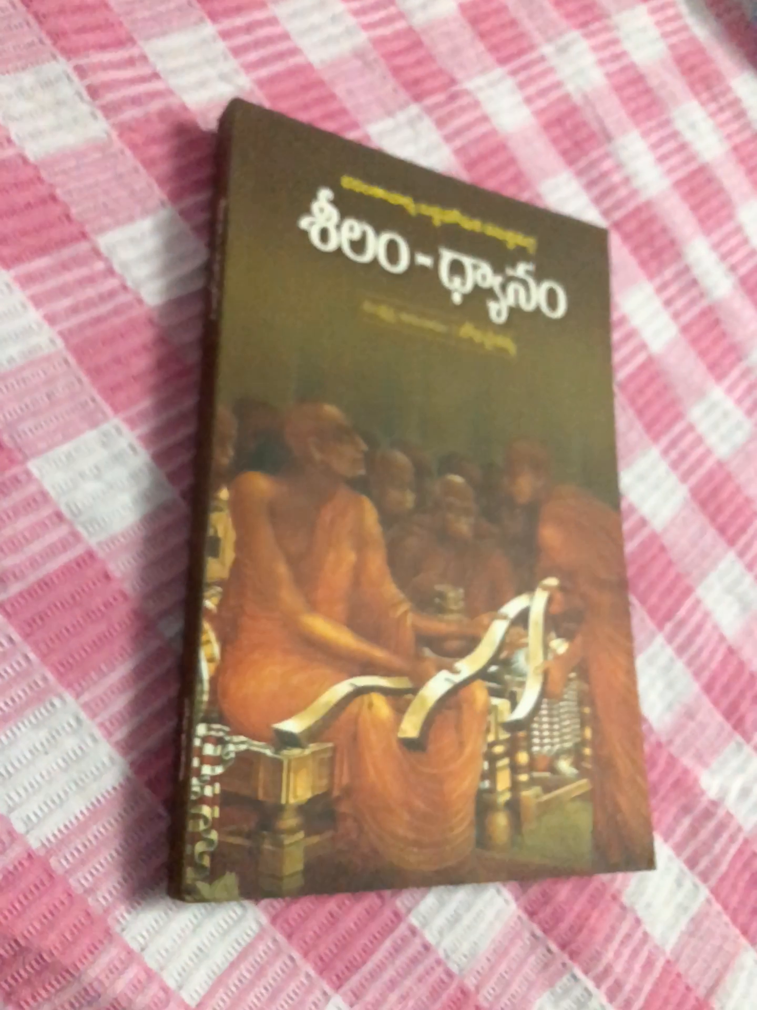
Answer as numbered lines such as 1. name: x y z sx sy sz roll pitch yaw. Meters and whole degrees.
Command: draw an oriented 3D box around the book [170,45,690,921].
1. book: 0.023 -0.006 0.239 0.141 0.020 0.210 10 74 -28
